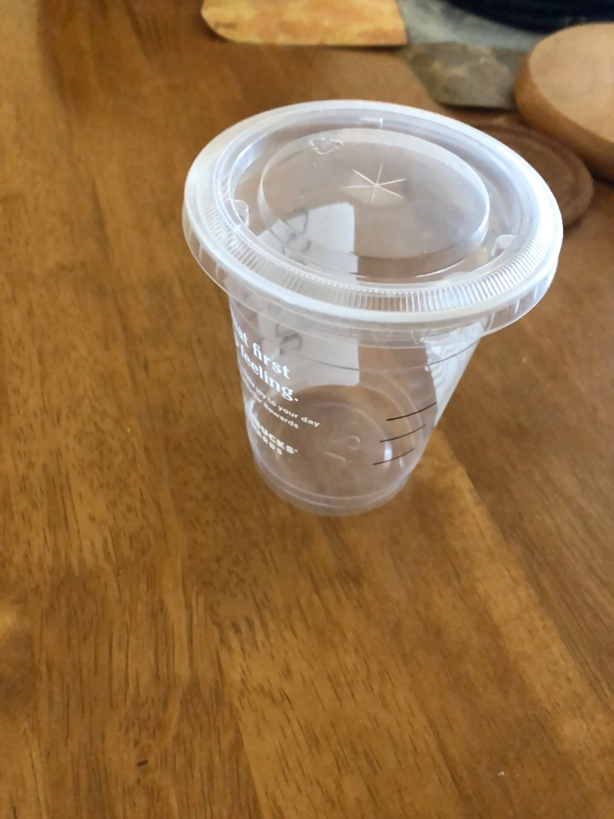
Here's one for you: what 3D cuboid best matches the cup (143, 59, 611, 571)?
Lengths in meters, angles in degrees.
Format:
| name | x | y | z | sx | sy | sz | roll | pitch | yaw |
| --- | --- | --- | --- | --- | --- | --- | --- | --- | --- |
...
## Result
| name | x | y | z | sx | sy | sz | roll | pitch | yaw |
| --- | --- | --- | --- | --- | --- | --- | --- | --- | --- |
| cup | 0.014 | -0.025 | 0.203 | 0.090 | 0.100 | 0.100 | 5 | 50 | 0 |
